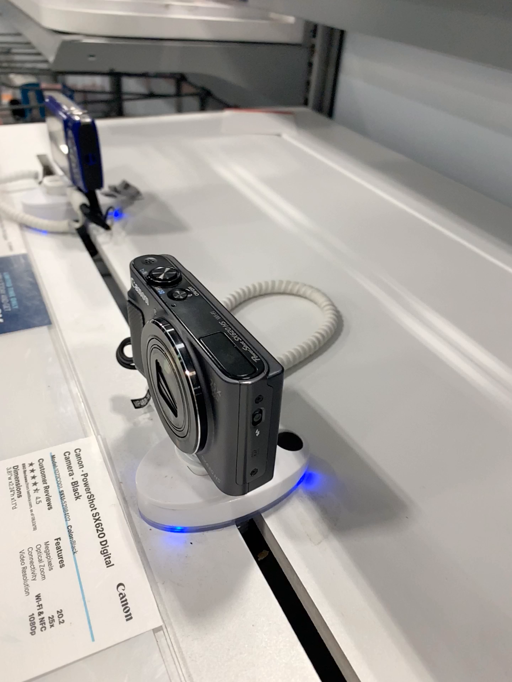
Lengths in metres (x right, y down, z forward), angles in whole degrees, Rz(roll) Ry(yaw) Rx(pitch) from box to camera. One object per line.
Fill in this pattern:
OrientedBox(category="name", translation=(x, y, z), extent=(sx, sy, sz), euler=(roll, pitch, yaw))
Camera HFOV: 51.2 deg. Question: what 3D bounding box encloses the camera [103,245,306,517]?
OrientedBox(category="camera", translation=(-0.026, 0.009, 0.208), extent=(0.031, 0.050, 0.100), euler=(-16, 42, -28))
